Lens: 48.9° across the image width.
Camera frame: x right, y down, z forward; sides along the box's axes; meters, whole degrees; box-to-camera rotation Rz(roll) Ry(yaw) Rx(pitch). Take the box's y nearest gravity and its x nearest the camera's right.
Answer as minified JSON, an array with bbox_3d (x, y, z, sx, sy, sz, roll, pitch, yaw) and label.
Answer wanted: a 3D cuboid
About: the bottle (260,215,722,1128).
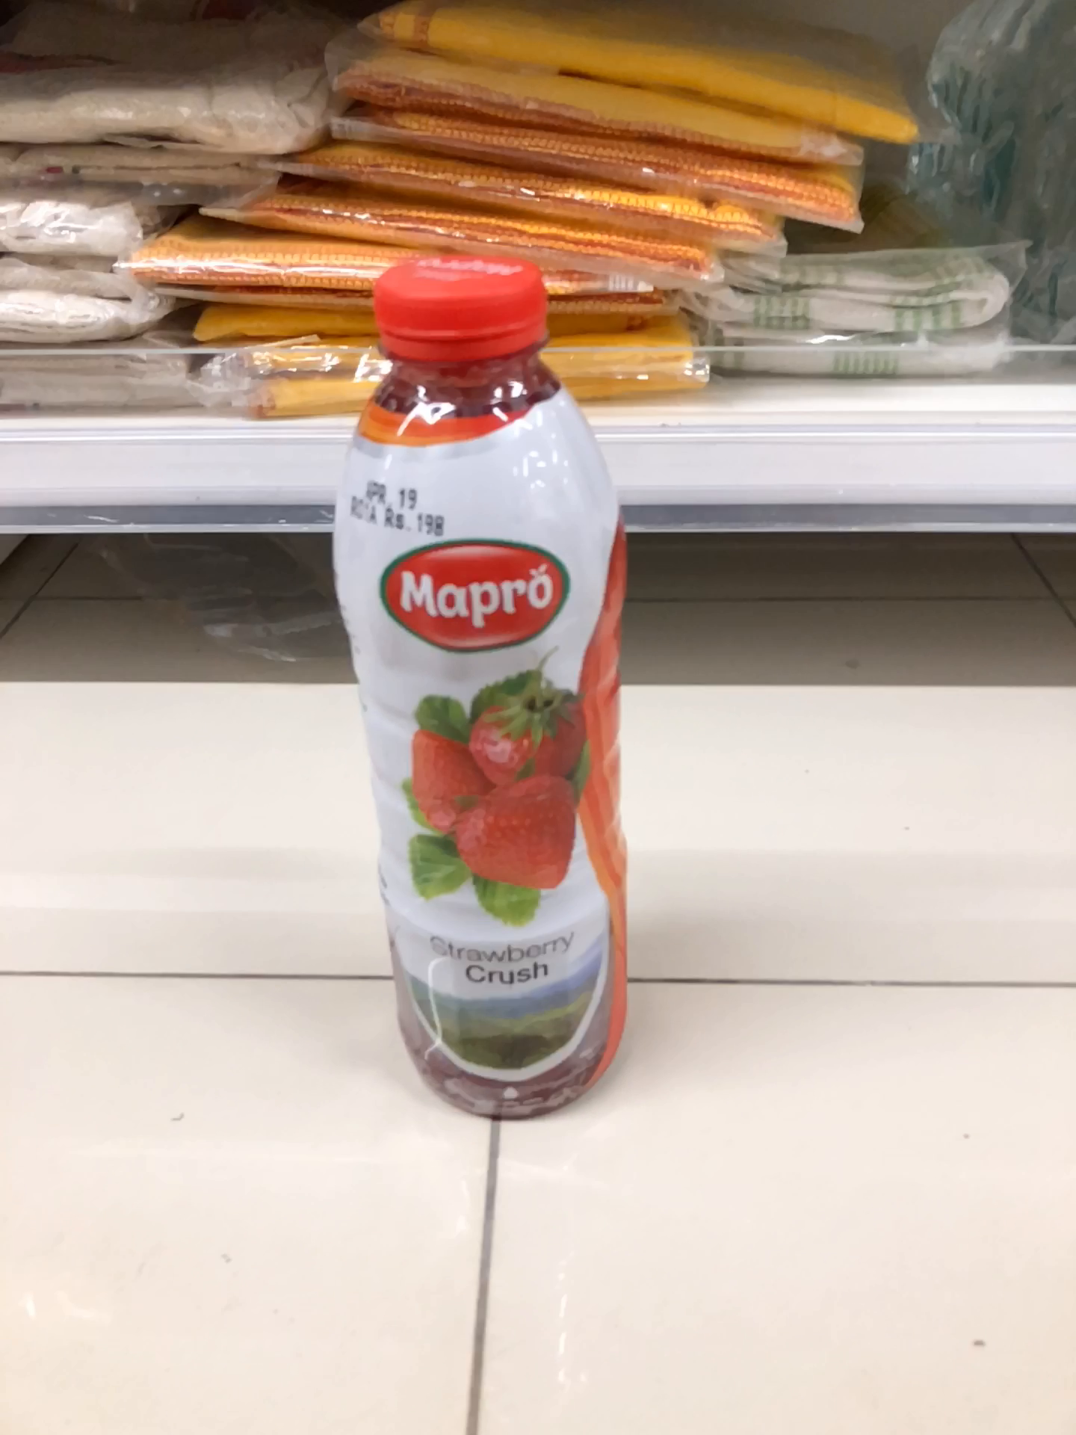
[{"bbox_3d":[-0.005,0.001,0.332,0.090,0.248,0.081,0,33,2],"label":"bottle"}]
